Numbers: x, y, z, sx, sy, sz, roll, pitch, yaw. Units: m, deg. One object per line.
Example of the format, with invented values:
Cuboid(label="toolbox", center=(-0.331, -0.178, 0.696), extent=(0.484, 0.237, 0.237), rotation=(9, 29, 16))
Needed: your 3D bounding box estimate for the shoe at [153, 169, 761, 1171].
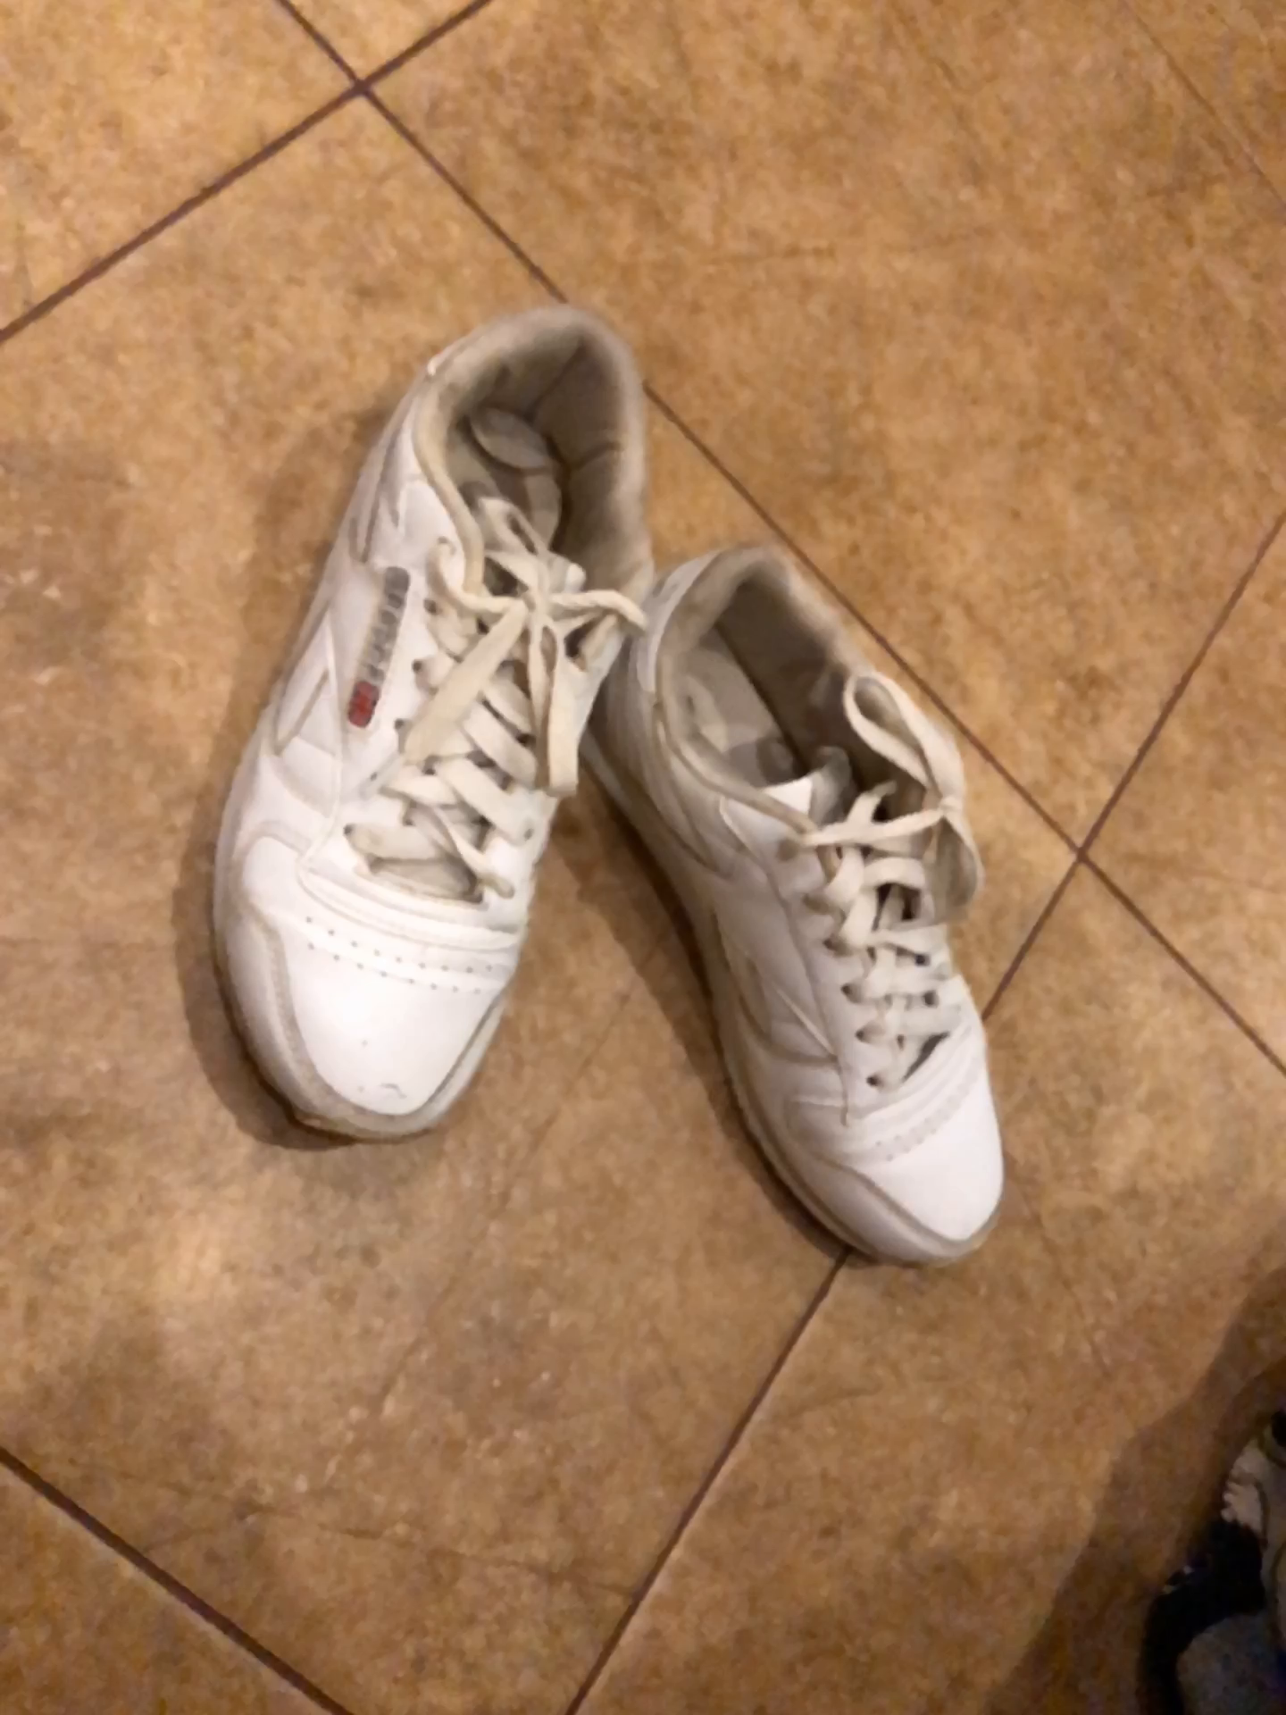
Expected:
Cuboid(label="shoe", center=(-0.052, -0.049, 0.428), extent=(0.100, 0.100, 0.261), rotation=(18, 70, -22))

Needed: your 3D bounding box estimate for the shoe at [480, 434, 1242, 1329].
Cuboid(label="shoe", center=(0.068, 0.010, 0.474), extent=(0.110, 0.100, 0.250), rotation=(-29, 92, -30))
